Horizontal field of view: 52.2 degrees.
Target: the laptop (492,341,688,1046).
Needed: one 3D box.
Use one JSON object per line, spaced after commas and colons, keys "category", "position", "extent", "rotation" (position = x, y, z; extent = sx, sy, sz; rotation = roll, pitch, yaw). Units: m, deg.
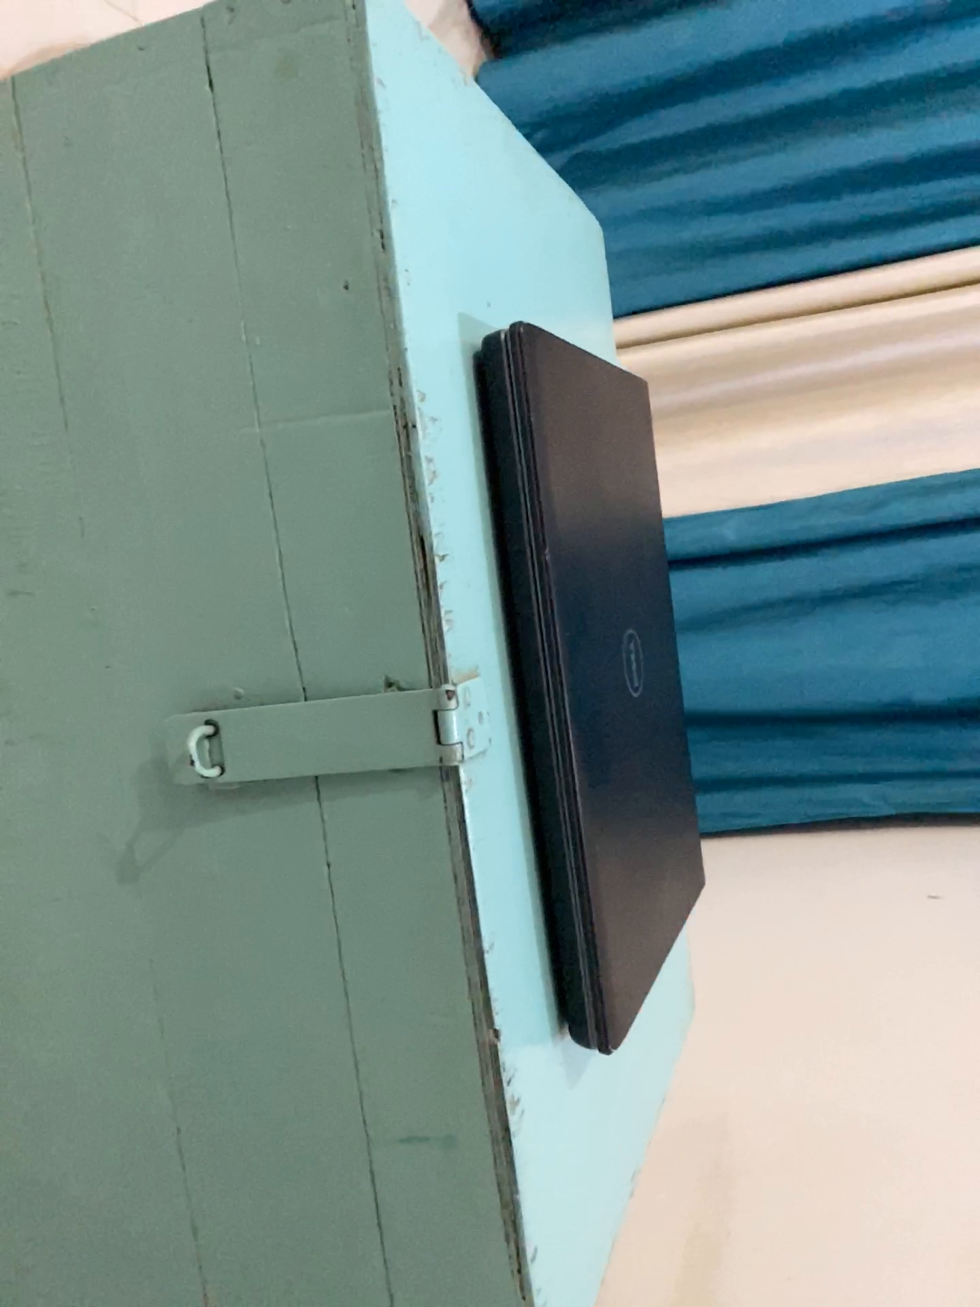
{"category": "laptop", "position": [0.079, 0.008, 0.662], "extent": [0.270, 0.004, 0.384], "rotation": [-18, 101, -66]}
